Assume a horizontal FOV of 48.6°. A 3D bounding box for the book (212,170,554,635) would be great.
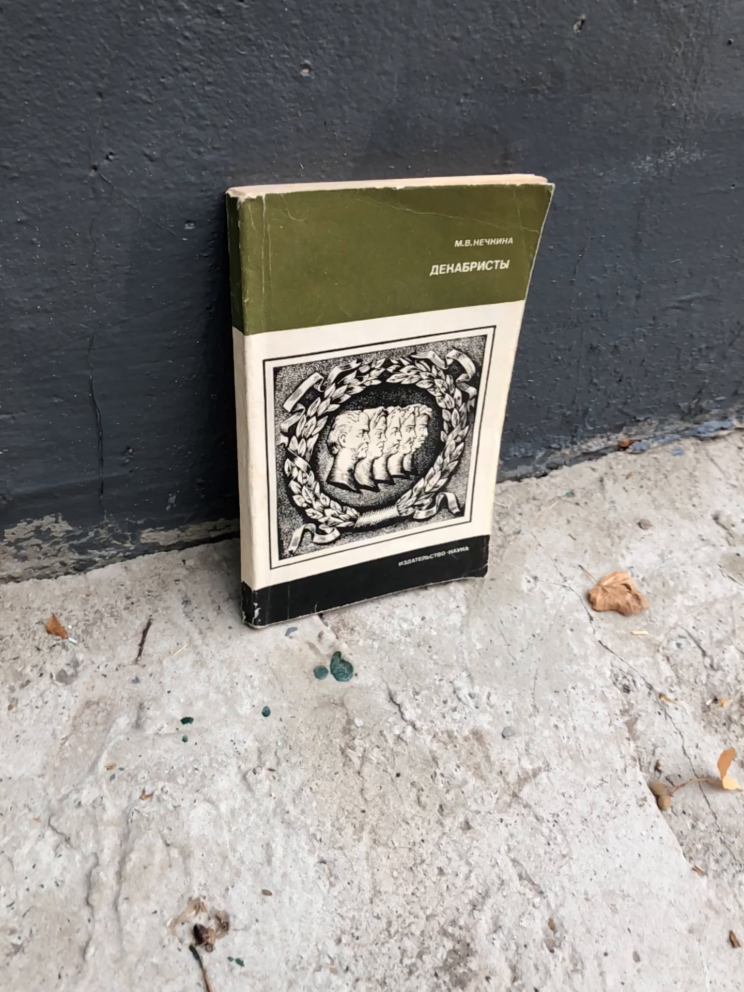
[{"bbox_3d":[0.005,-0.034,0.323,0.120,0.169,0.020,-12,32,-22],"label":"book"}]
